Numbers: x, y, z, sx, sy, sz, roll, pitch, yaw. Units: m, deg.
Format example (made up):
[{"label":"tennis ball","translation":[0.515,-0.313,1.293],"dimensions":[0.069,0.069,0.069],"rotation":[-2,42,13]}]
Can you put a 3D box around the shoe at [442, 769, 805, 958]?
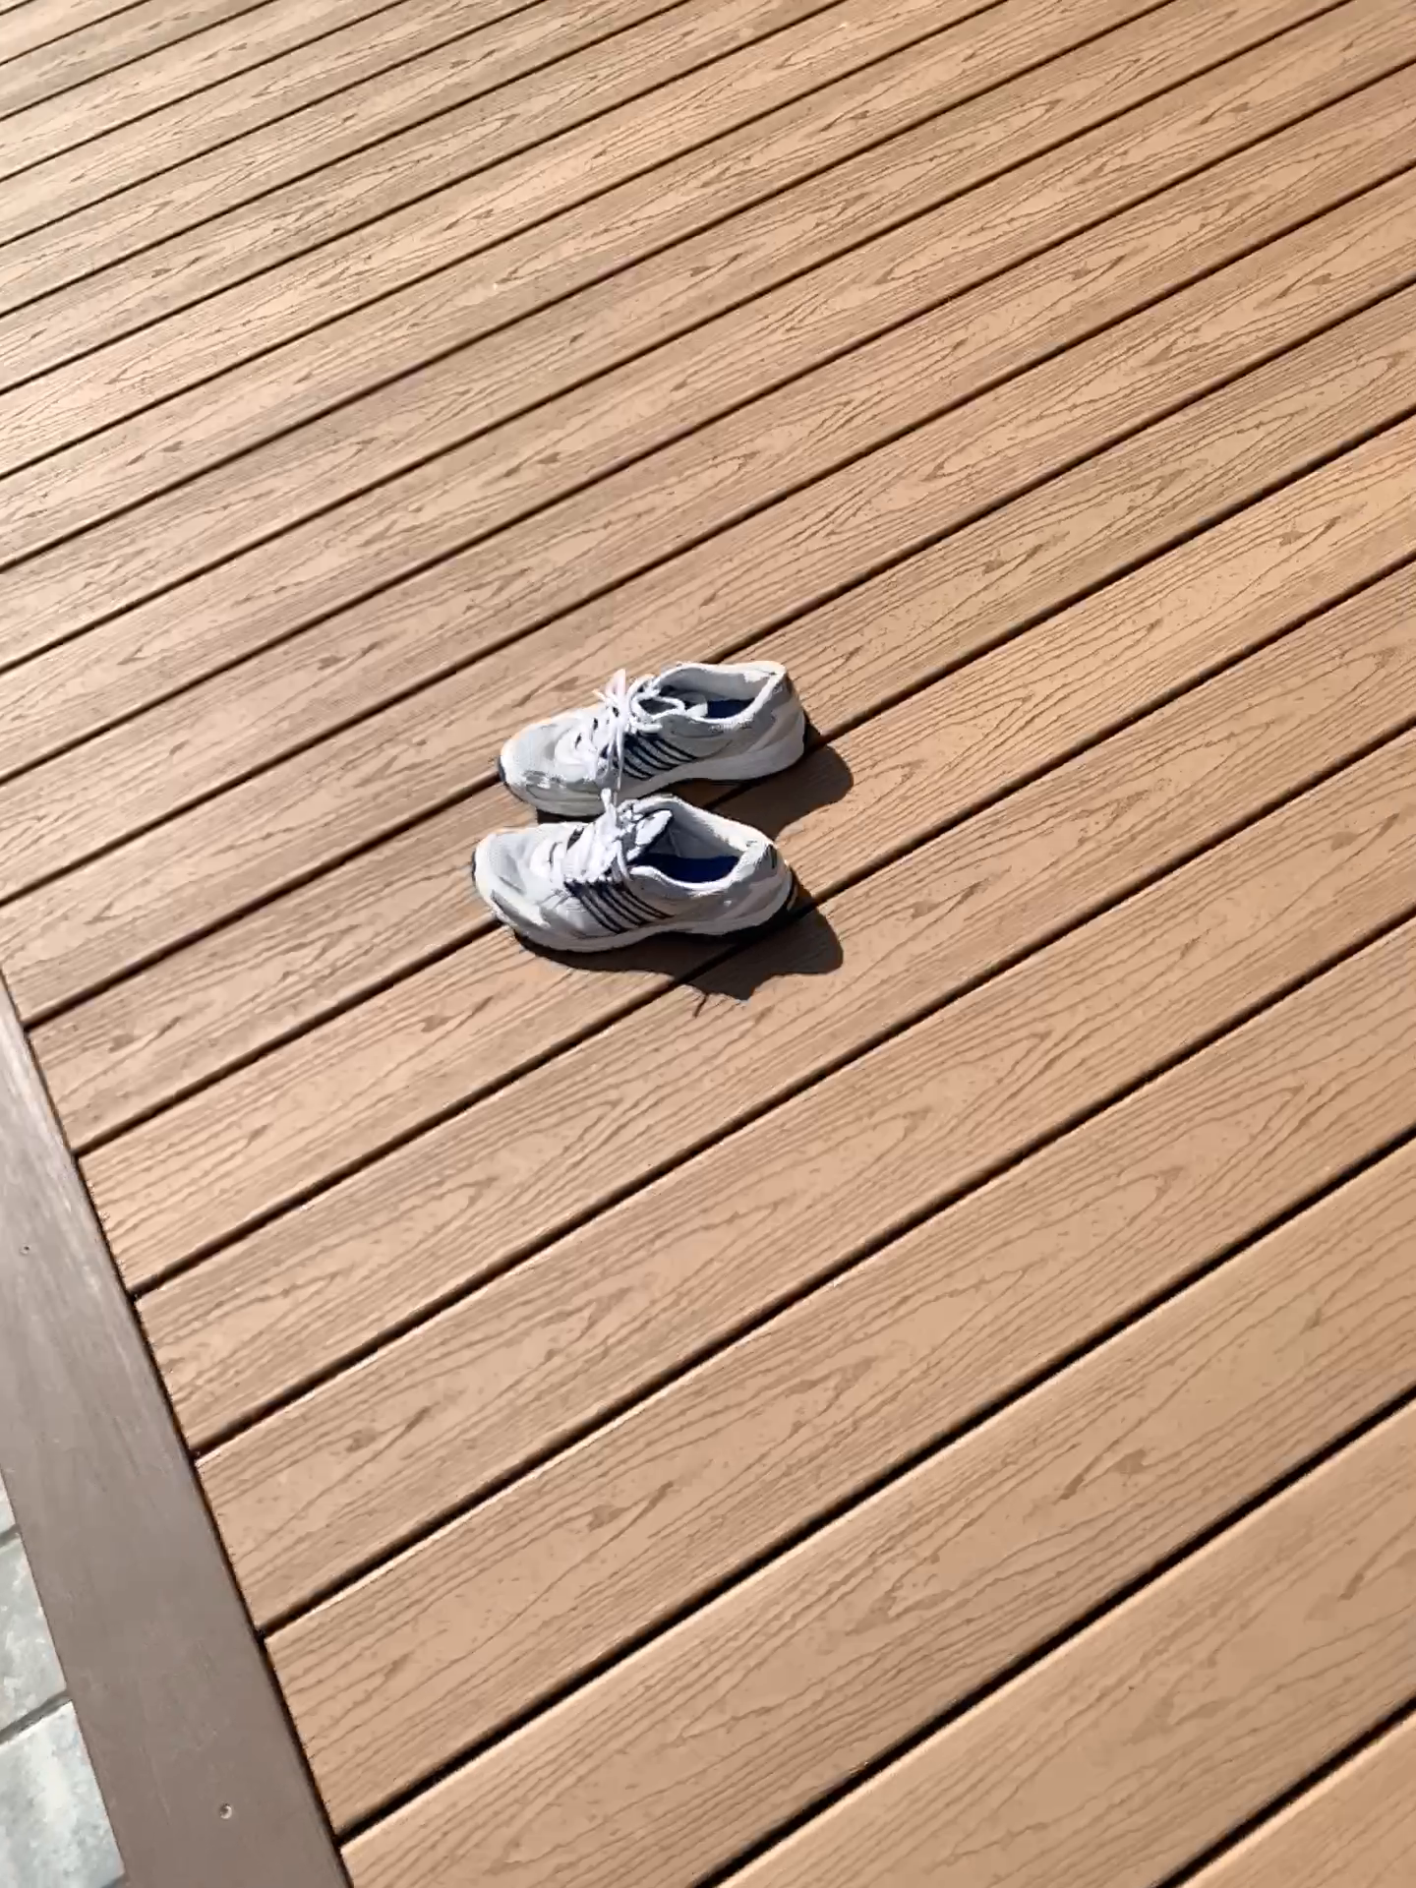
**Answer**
[{"label":"shoe","translation":[-0.066,-0.067,1.224],"dimensions":[0.290,0.100,0.120],"rotation":[-1,61,7]}]

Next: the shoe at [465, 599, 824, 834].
[{"label":"shoe","translation":[-0.056,-0.205,1.298],"dimensions":[0.300,0.100,0.120],"rotation":[-11,60,2]}]
